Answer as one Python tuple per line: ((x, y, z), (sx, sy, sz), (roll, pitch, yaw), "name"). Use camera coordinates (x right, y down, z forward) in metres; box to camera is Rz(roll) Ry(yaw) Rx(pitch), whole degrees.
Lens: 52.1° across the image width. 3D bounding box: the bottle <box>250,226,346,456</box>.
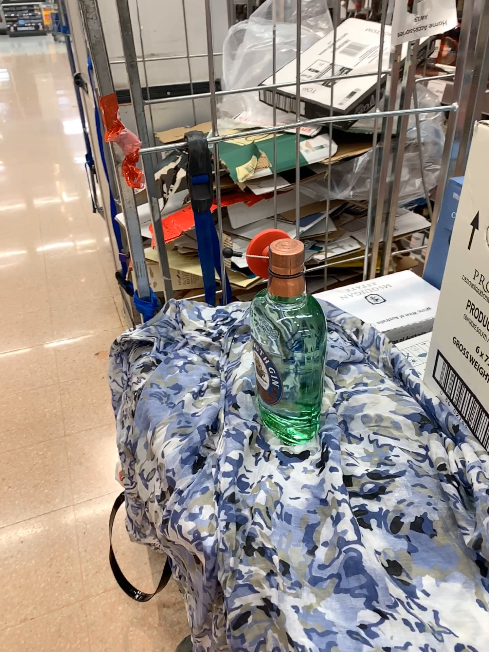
((0.052, 0.020, 0.546), (0.057, 0.228, 0.095), (-13, 35, -16), "bottle")
